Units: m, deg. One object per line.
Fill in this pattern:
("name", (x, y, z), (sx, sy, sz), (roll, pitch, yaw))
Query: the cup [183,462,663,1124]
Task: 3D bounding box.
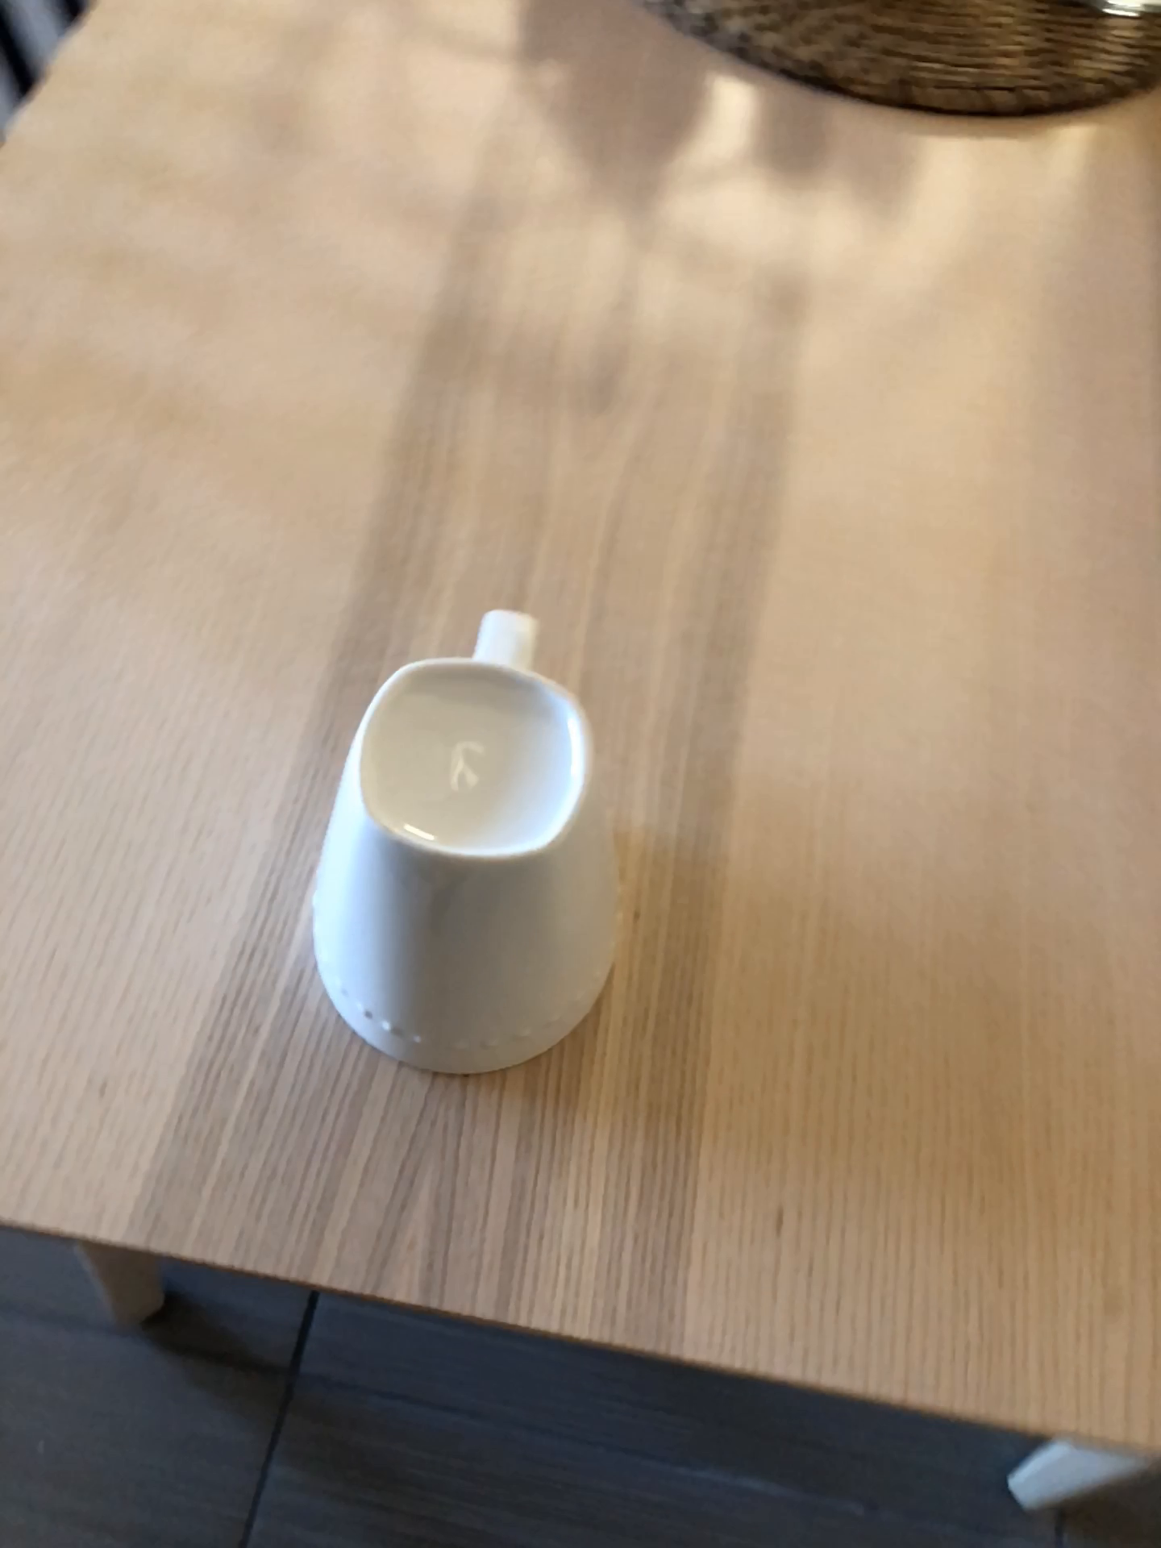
("cup", (-0.036, 0.011, 0.366), (0.100, 0.120, 0.140), (5, 61, -2))
